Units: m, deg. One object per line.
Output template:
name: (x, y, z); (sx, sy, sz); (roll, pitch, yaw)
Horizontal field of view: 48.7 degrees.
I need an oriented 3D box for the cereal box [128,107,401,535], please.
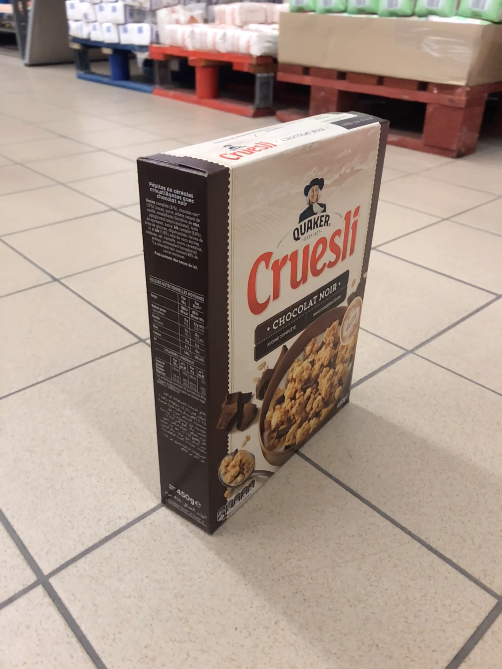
cereal box: (0.019, -0.018, 0.388); (0.050, 0.239, 0.201); (22, 36, 32)
